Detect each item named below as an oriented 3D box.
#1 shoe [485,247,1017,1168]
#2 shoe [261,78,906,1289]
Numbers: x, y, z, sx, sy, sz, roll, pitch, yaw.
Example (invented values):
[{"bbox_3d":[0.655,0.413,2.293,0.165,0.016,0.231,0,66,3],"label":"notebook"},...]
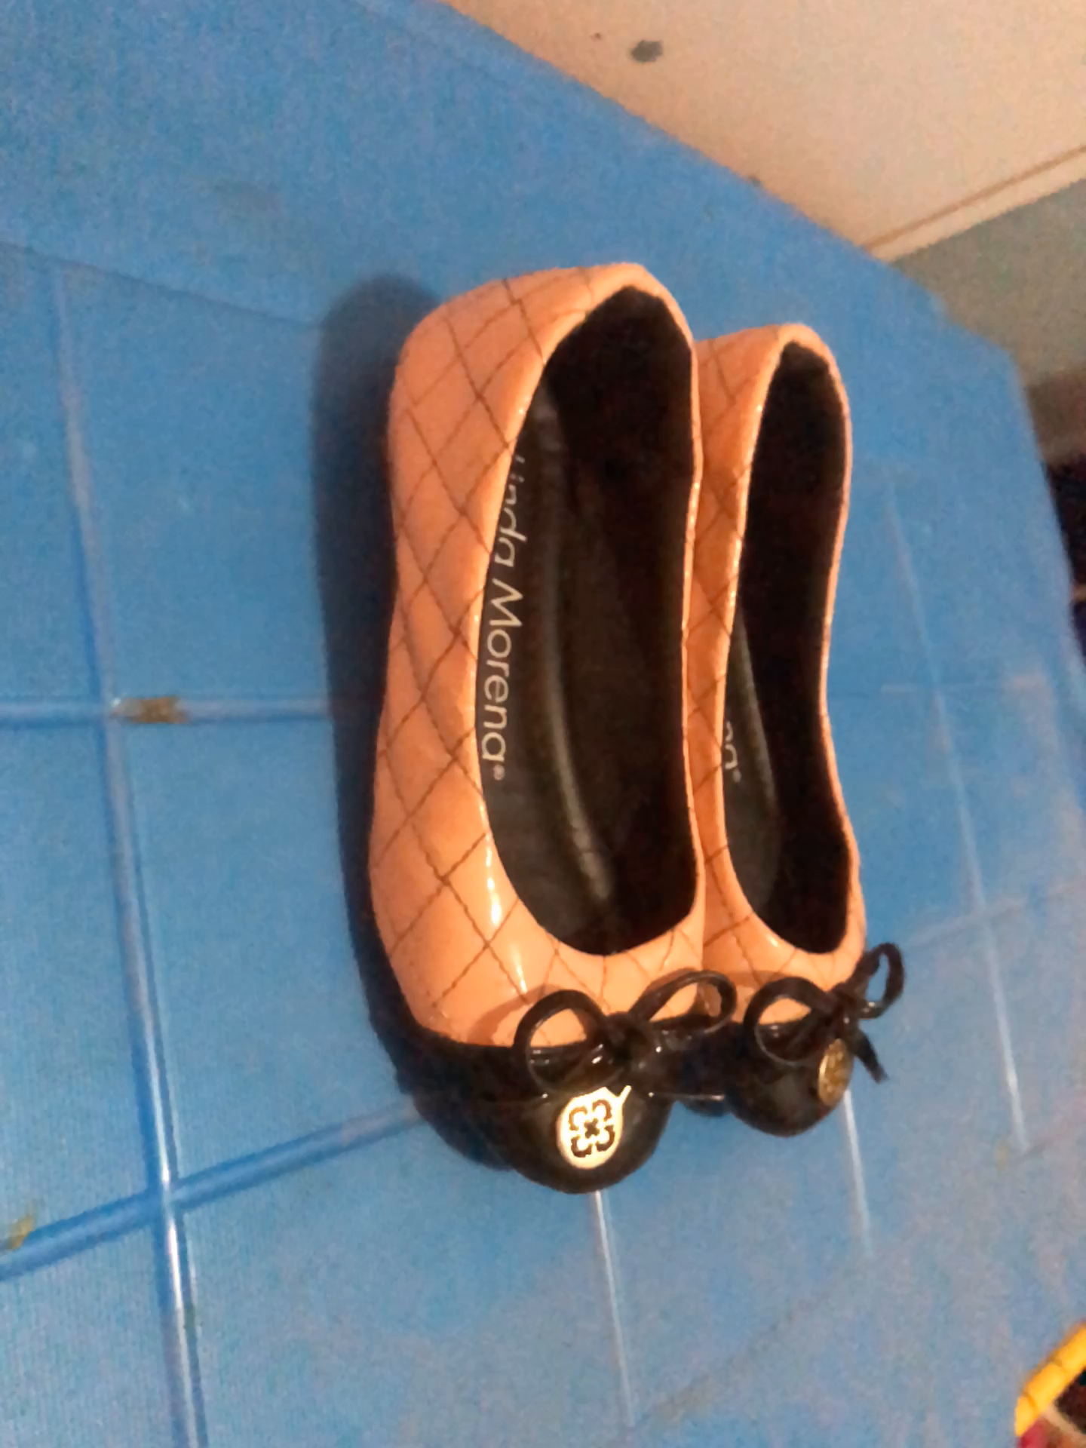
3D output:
[{"bbox_3d":[0.050,-0.001,0.300,0.070,0.079,0.190,-2,83,-49],"label":"shoe"},{"bbox_3d":[0.006,-0.005,0.241,0.070,0.079,0.190,0,82,-49],"label":"shoe"}]
